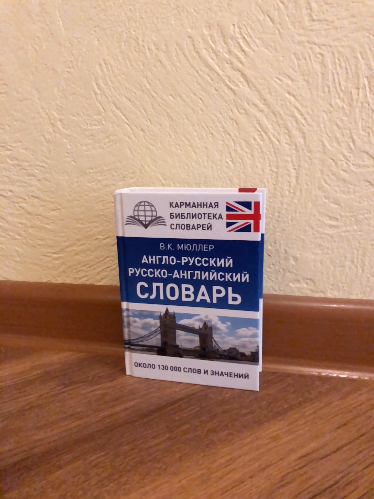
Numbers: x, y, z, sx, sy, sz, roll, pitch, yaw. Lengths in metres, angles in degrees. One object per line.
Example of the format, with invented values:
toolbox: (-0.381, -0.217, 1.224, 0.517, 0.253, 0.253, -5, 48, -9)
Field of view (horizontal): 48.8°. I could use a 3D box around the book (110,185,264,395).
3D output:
book: (0.003, 0.028, 0.309, 0.102, 0.146, 0.037, 2, 16, 14)
